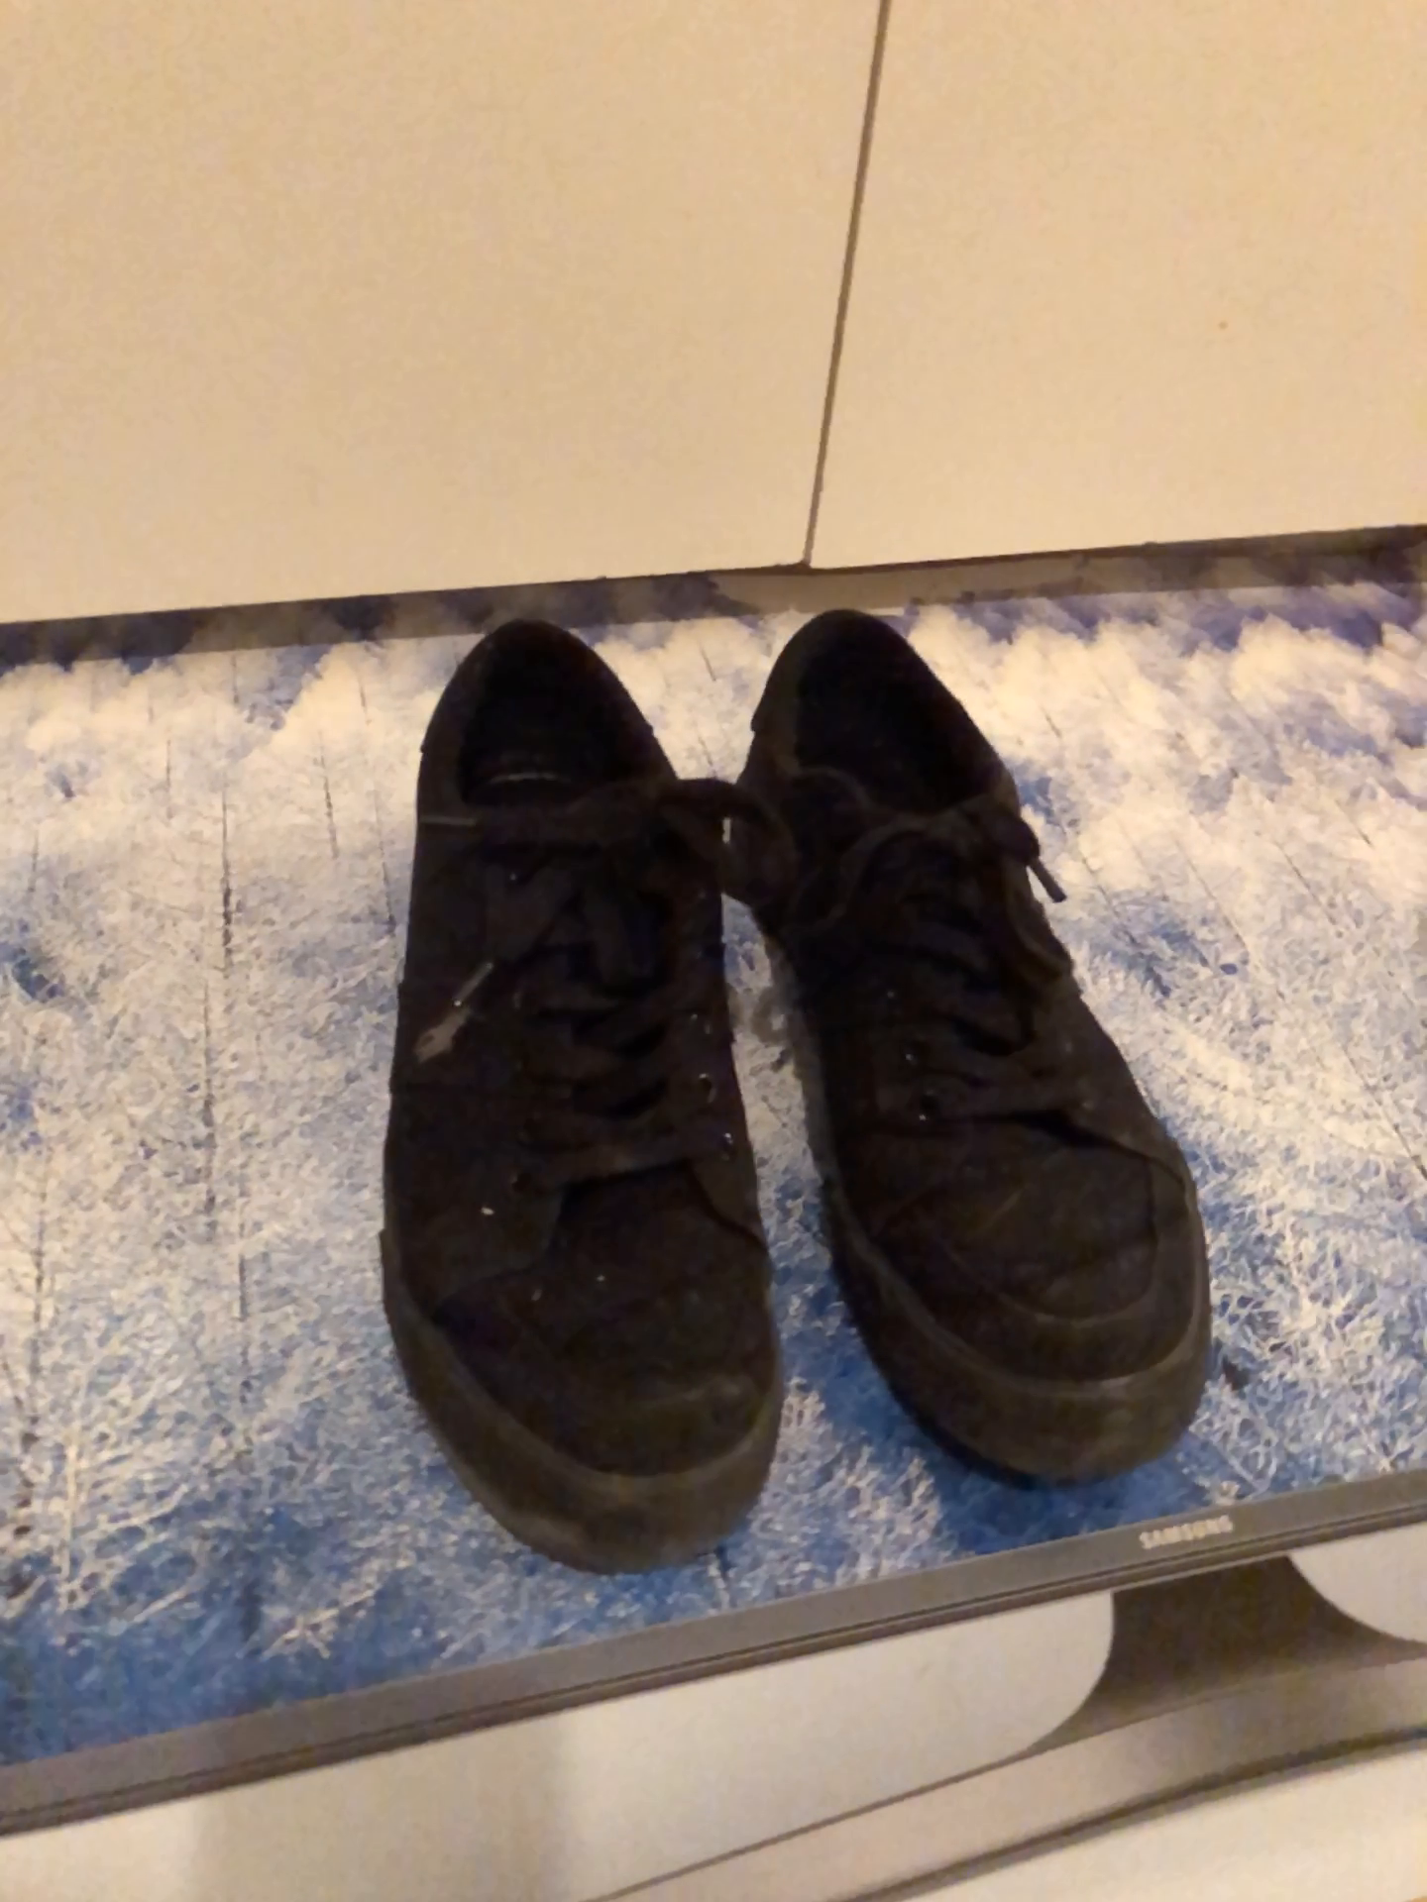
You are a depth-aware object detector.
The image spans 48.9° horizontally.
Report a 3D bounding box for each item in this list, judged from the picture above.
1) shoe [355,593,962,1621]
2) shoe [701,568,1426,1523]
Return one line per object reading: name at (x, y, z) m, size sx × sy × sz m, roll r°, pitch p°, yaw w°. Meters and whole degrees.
shoe at (-0.034, 0.024, 0.449) m, size 0.110 × 0.109 × 0.272 m, roll -6°, pitch 48°, yaw -12°
shoe at (0.081, 0.010, 0.462) m, size 0.110 × 0.109 × 0.262 m, roll -6°, pitch 48°, yaw -12°
